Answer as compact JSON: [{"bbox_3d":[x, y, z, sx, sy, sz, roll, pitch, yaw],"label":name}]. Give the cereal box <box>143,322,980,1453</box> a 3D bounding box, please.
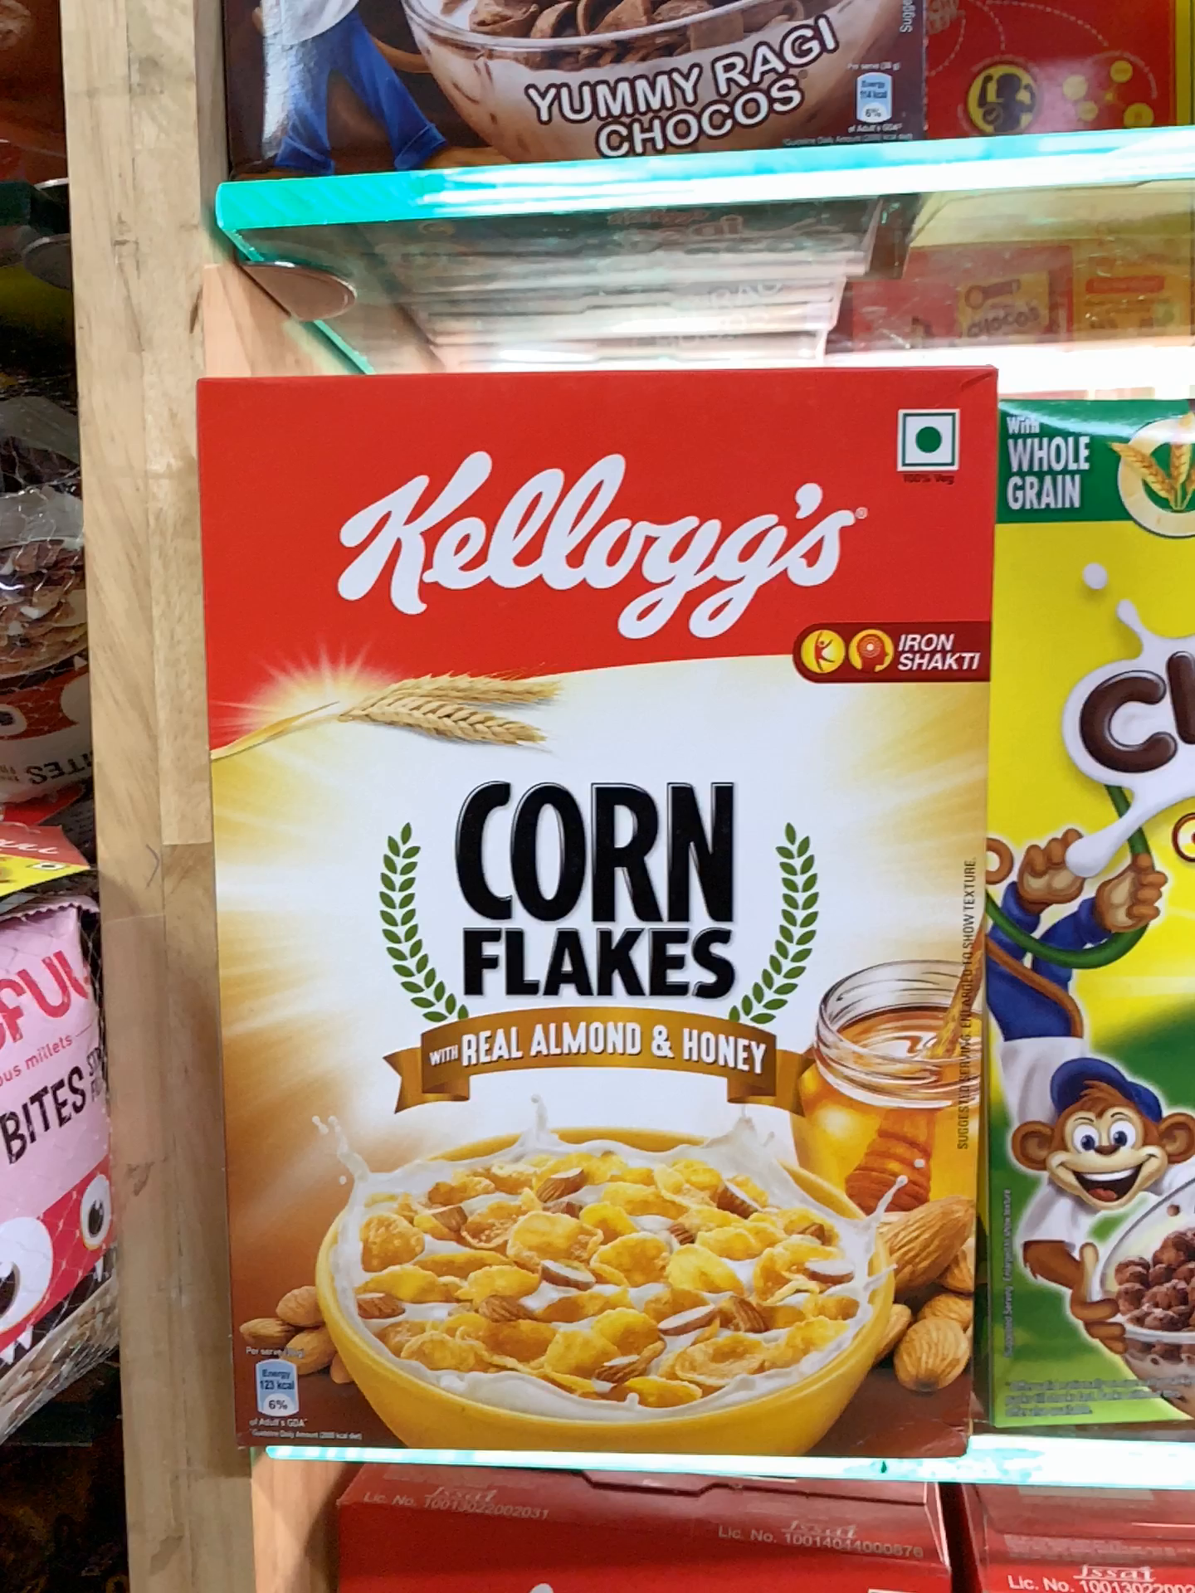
[{"bbox_3d":[-0.006,0.020,0.299,0.170,0.239,0.070,0,6,3],"label":"cereal box"}]
